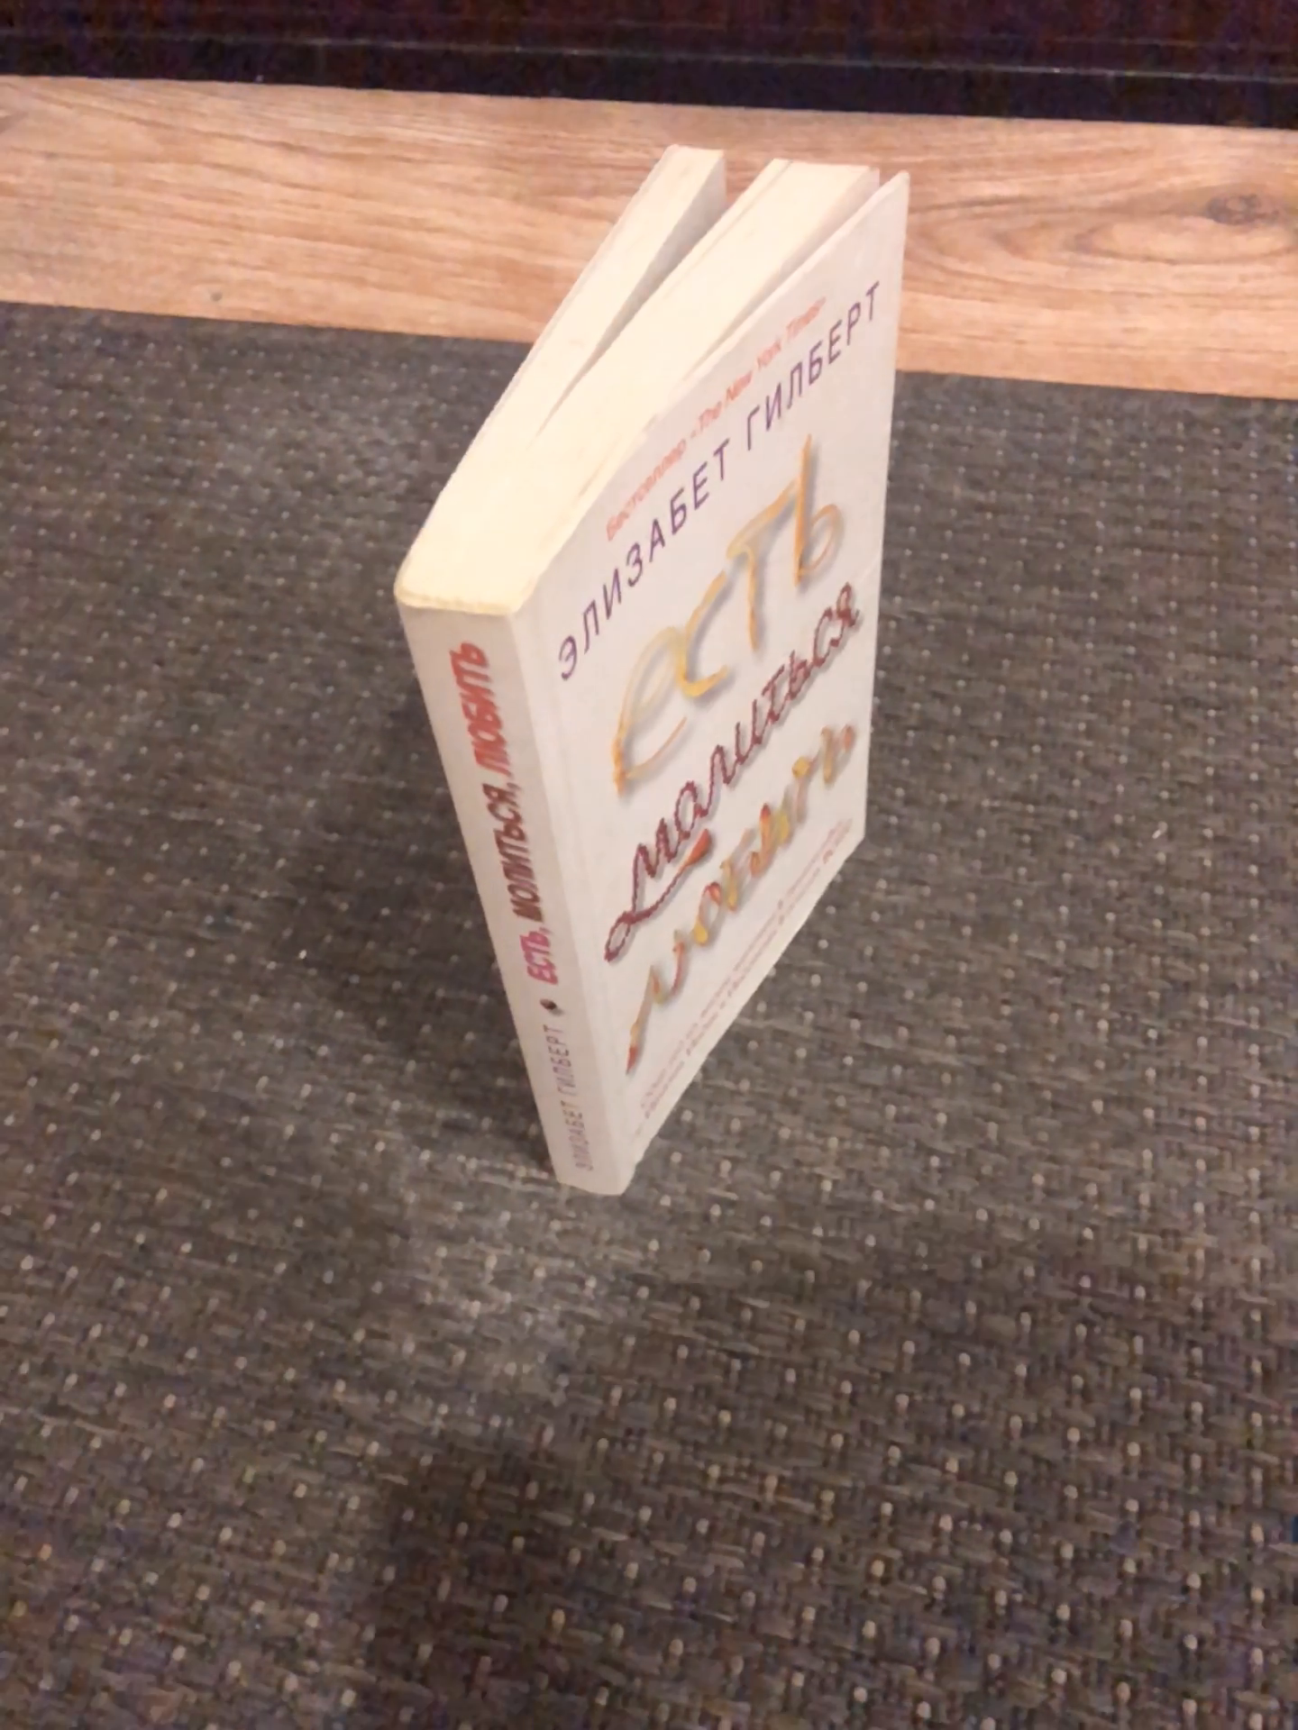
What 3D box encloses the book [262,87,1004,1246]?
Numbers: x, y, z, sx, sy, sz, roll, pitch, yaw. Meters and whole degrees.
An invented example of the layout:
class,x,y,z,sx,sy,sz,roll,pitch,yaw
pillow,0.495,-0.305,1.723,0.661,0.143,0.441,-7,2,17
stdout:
class,x,y,z,sx,sy,sz,roll,pitch,yaw
book,0.008,-0.035,0.345,0.068,0.214,0.161,21,56,17
